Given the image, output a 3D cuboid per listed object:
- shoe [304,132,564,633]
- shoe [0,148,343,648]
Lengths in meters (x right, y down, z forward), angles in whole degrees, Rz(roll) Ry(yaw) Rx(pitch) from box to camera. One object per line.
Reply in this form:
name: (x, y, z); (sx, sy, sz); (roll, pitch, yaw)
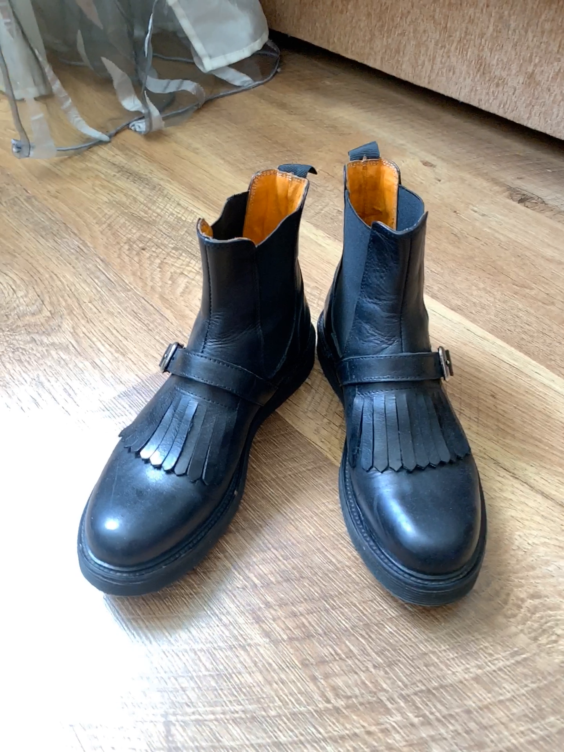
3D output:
shoe: (0.080, -0.011, 0.349); (0.100, 0.149, 0.261); (-5, 48, -3)
shoe: (-0.054, -0.002, 0.357); (0.089, 0.151, 0.261); (18, 51, 16)
